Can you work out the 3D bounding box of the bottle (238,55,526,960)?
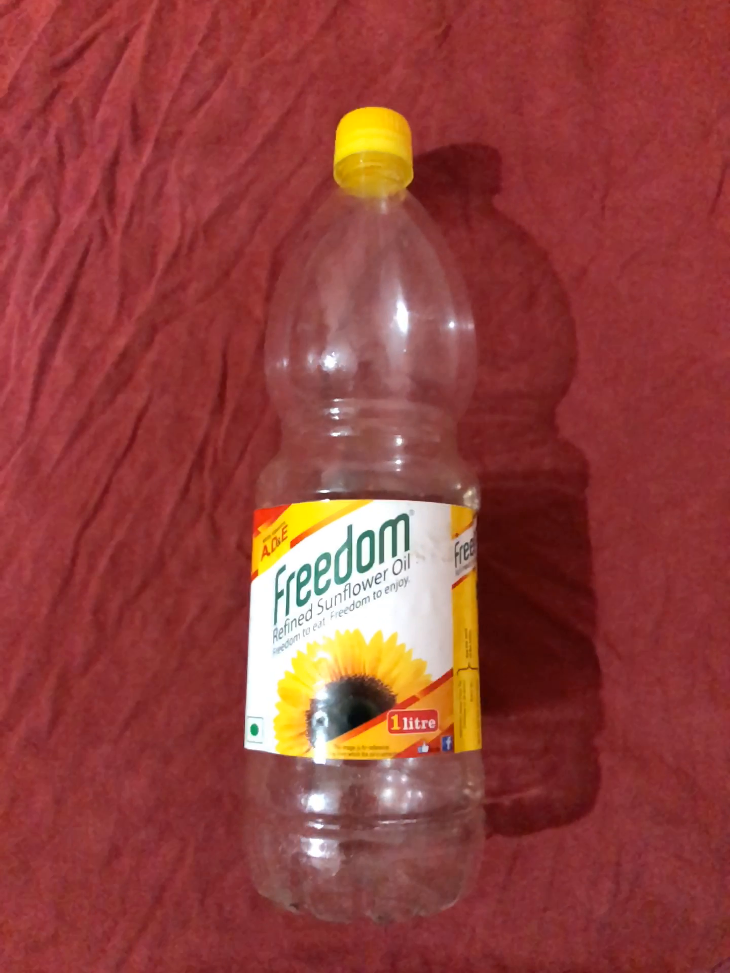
[{"bbox_3d":[0.006,0.001,0.273,0.080,0.060,0.270,1,82,-3],"label":"bottle"}]
